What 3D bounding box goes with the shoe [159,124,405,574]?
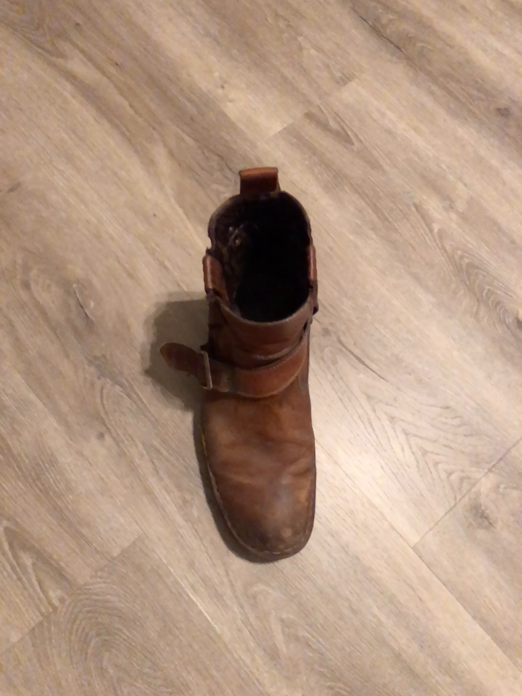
[{"bbox_3d":[-0.003,0.014,0.460,0.130,0.210,0.290,-3,72,-5],"label":"shoe"}]
